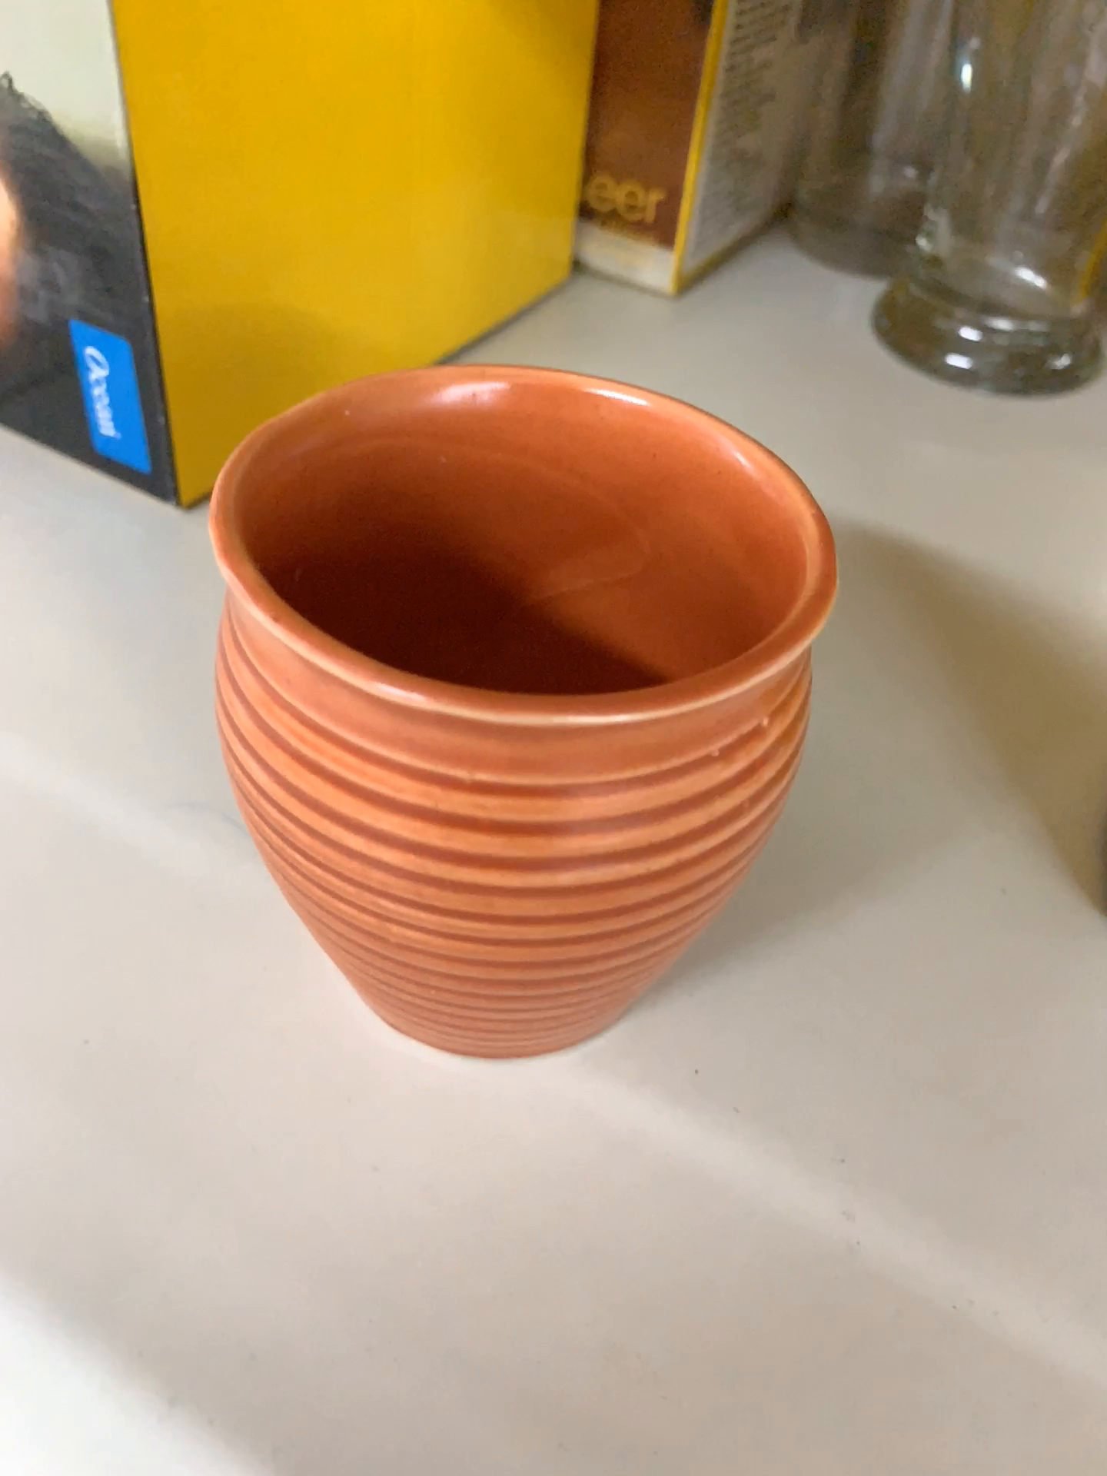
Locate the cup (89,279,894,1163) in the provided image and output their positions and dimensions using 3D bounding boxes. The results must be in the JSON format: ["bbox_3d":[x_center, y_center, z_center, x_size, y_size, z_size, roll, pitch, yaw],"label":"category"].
[{"bbox_3d":[-0.012,-0.004,0.137,0.060,0.069,0.060,3,43,-3],"label":"cup"}]
